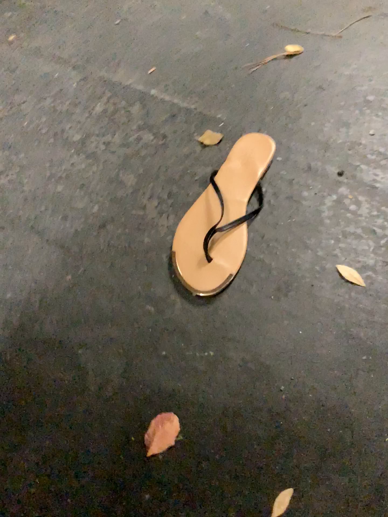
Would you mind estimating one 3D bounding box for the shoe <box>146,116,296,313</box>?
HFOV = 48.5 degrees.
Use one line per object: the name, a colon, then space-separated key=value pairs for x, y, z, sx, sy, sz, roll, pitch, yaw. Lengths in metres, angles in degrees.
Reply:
shoe: x=0.046 y=-0.075 z=0.579 sx=0.110 sy=0.030 sz=0.290 roll=14 pitch=62 yaw=18
